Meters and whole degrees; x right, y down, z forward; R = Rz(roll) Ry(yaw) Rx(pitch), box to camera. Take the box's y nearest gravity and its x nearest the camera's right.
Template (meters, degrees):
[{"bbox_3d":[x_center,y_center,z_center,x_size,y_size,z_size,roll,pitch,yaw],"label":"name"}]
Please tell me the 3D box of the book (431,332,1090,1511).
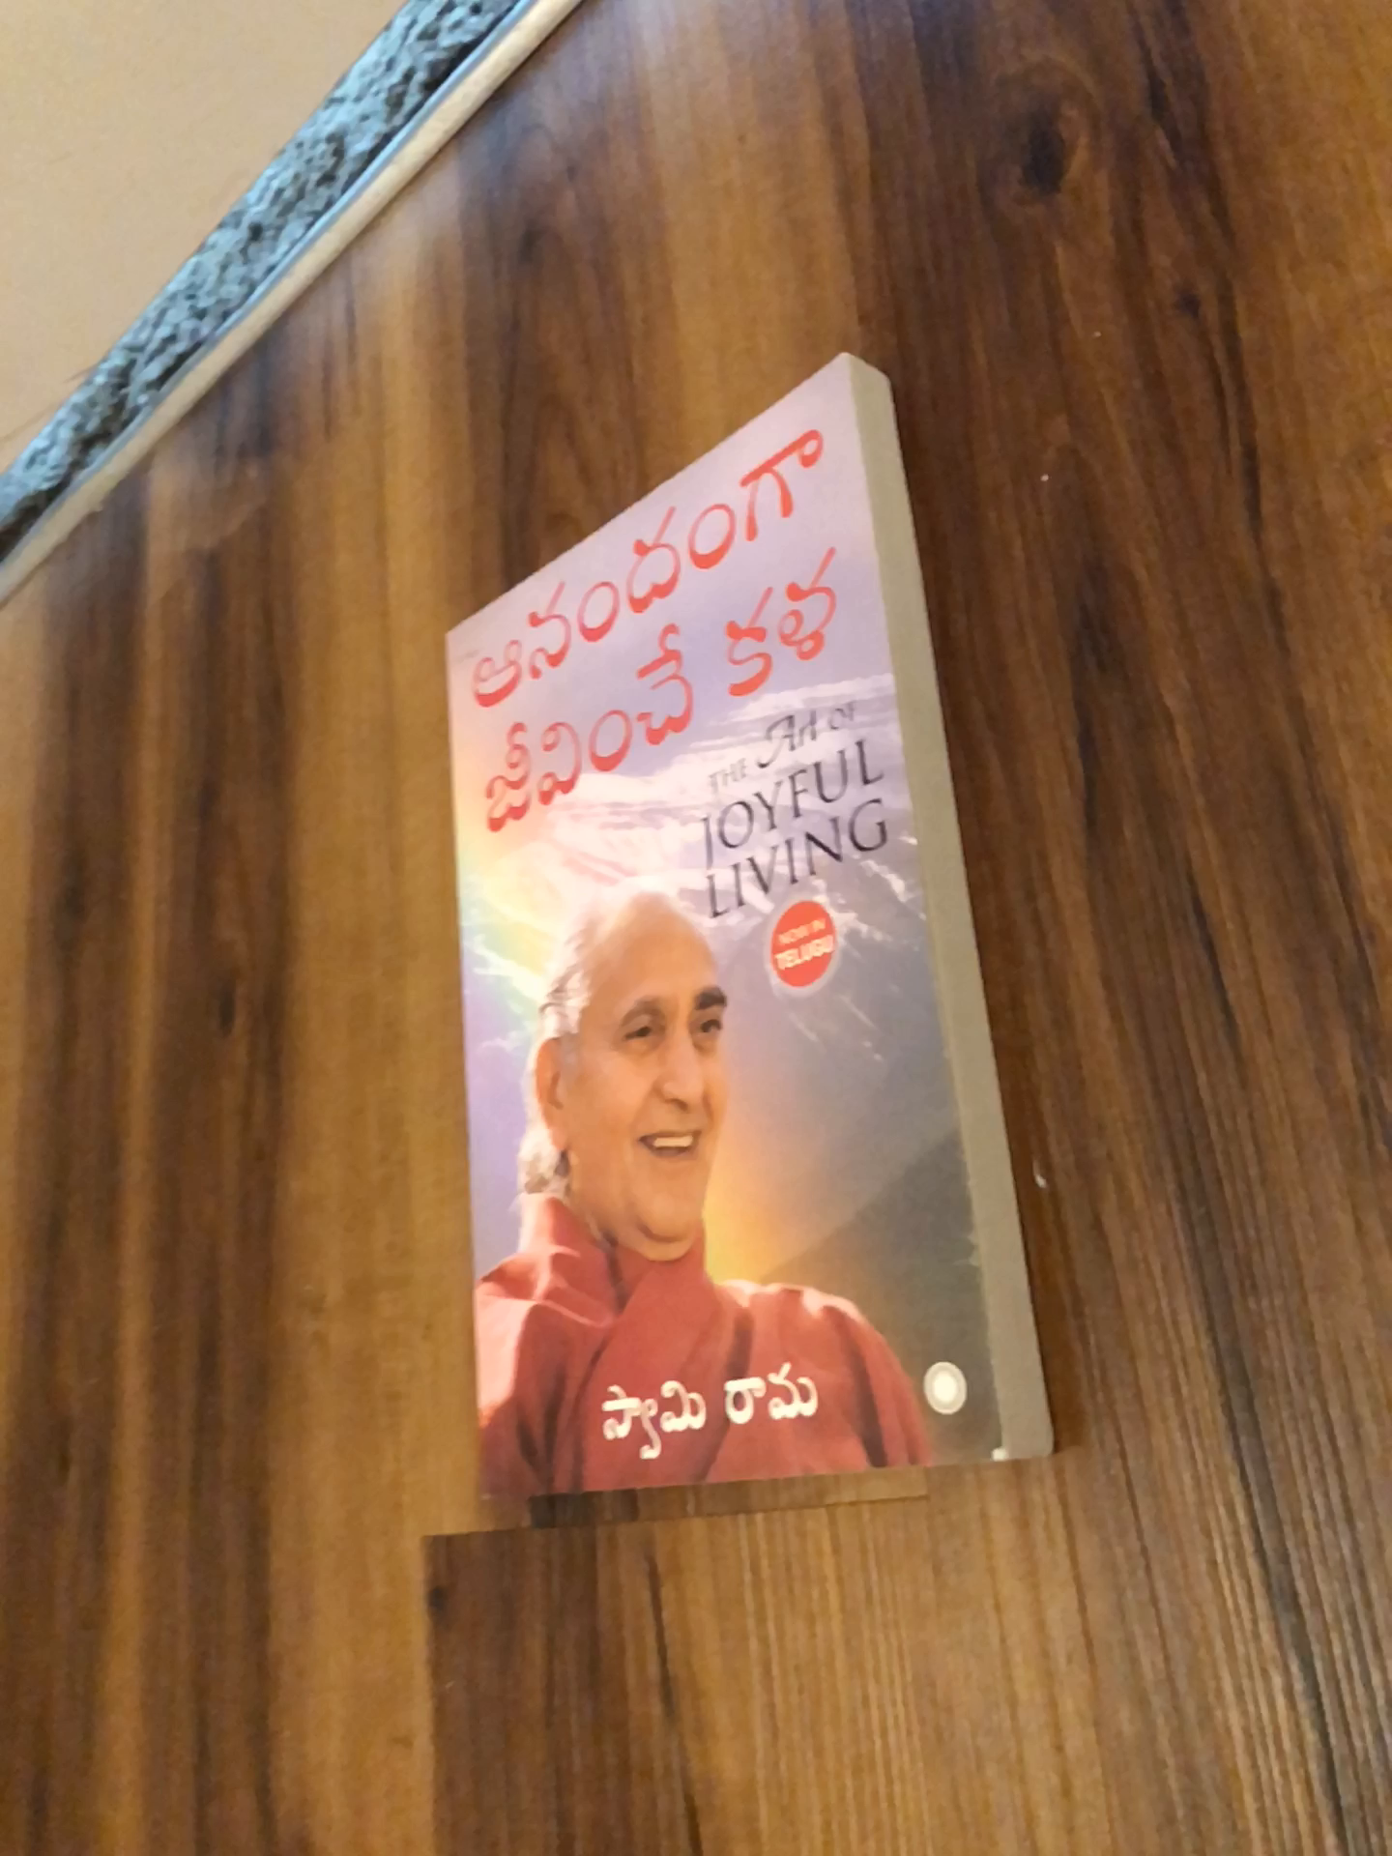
[{"bbox_3d":[-0.002,0.006,0.333,0.145,0.020,0.219,-23,65,42],"label":"book"}]
